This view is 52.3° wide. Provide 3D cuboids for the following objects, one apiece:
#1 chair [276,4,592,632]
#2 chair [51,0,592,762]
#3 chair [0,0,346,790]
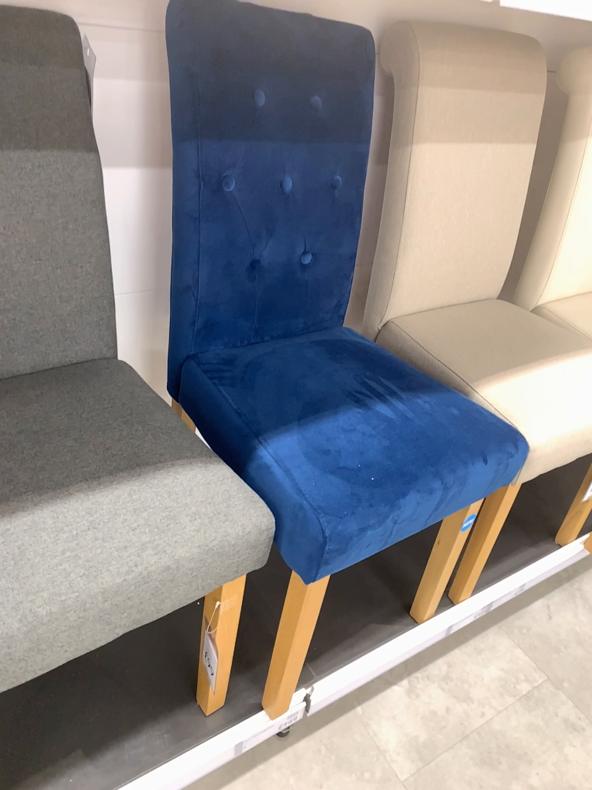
[{"bbox_3d":[0.377,-0.192,1.289,0.491,1.035,0.671,-14,35,-31],"label":"chair"},{"bbox_3d":[-0.026,-0.086,1.048,0.491,1.035,0.671,-14,35,-31],"label":"chair"},{"bbox_3d":[-0.389,0.005,0.845,0.491,1.025,0.671,-14,35,-31],"label":"chair"}]
